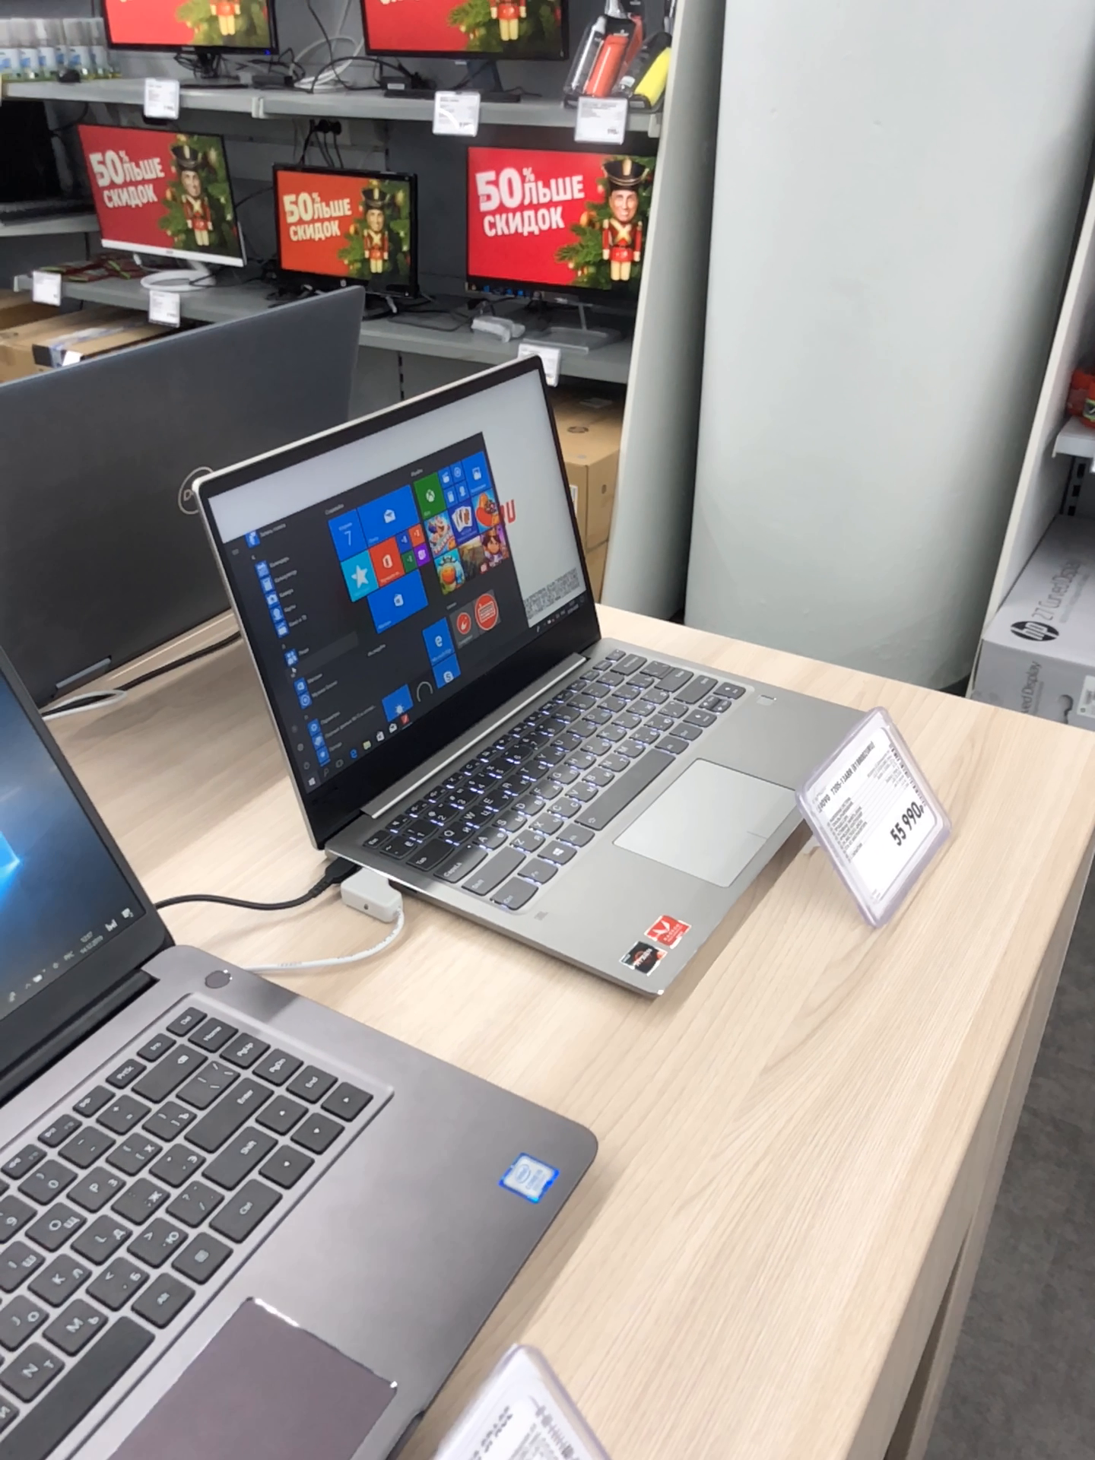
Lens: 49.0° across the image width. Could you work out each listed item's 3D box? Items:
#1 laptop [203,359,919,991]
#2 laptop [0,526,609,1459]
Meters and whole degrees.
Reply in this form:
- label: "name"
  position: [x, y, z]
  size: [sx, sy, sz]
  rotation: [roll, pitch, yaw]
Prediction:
- label: "laptop"
  position: [0.020, -0.061, 0.668]
  size: [0.262, 0.187, 0.286]
  rotation: [18, 35, 27]
- label: "laptop"
  position: [-0.213, 0.115, 0.366]
  size: [0.340, 0.188, 0.346]
  rotation: [17, 35, 25]
